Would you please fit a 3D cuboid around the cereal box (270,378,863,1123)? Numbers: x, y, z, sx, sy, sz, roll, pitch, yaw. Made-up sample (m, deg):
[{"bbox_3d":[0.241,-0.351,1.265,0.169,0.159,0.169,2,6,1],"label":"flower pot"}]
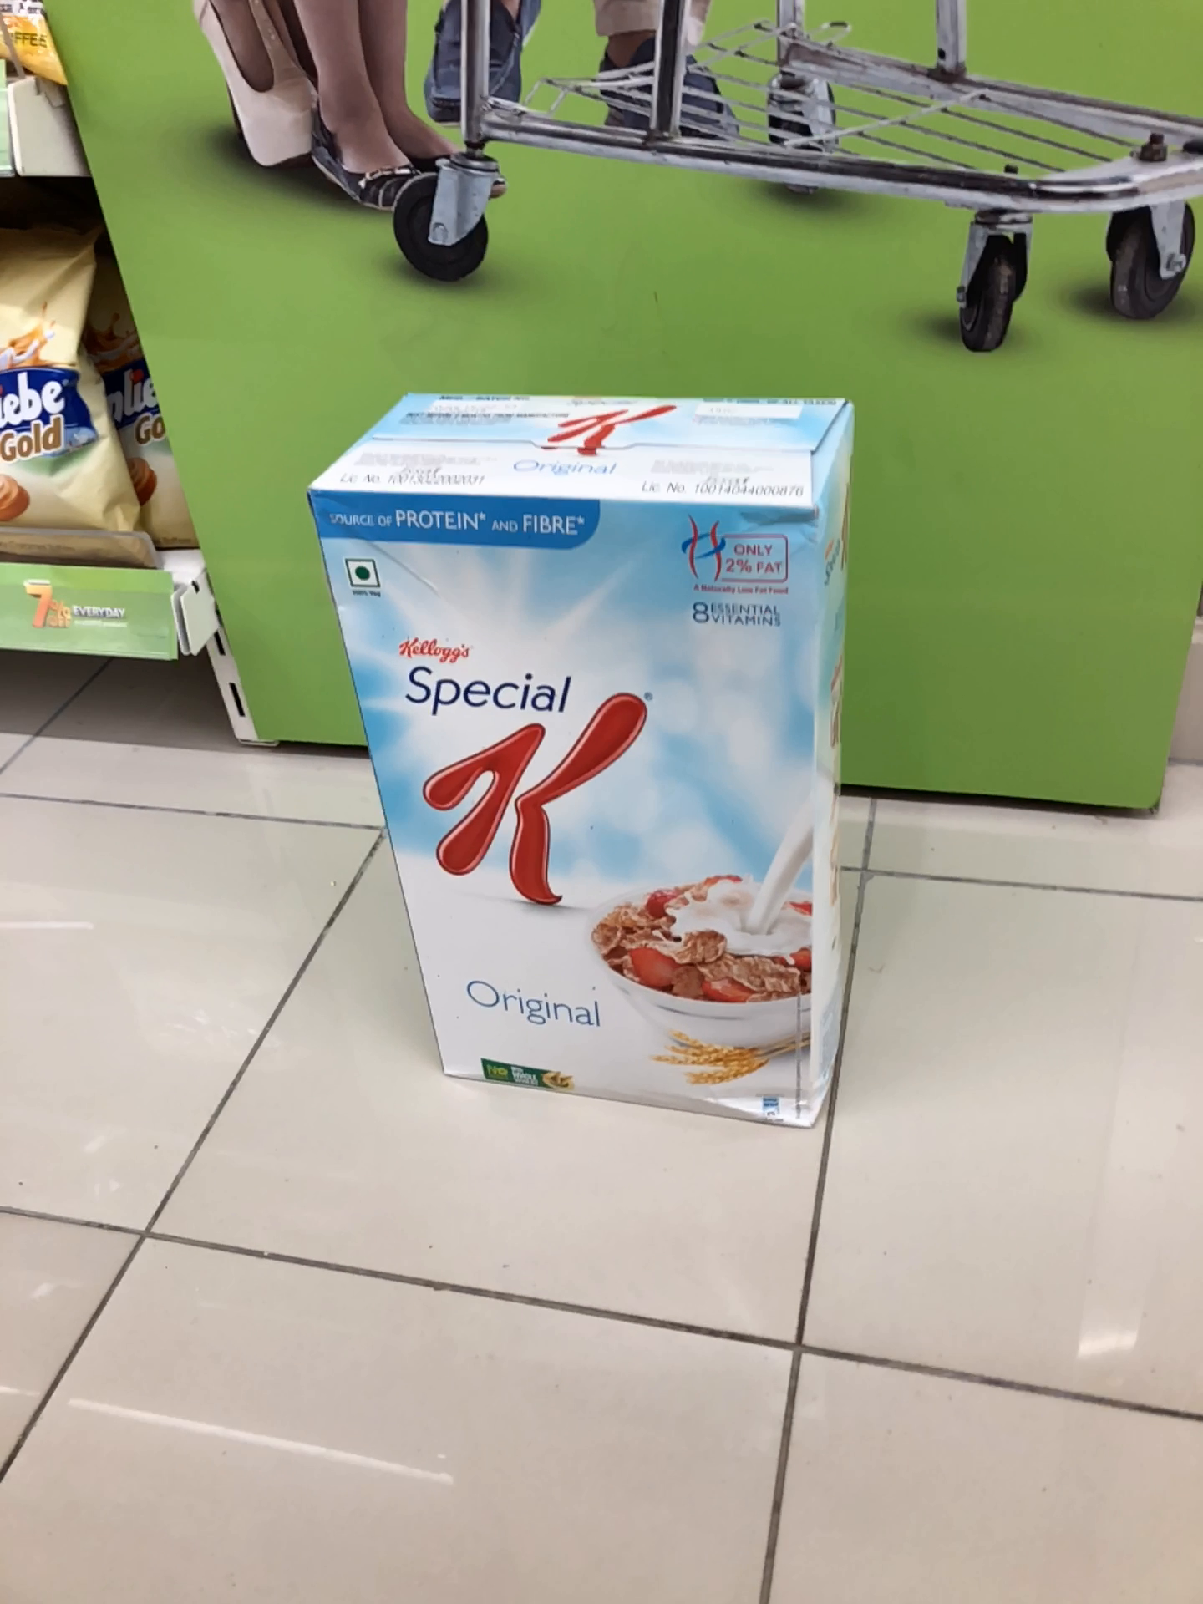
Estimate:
[{"bbox_3d":[0.003,-0.014,0.579,0.200,0.308,0.101,5,38,14],"label":"cereal box"}]
